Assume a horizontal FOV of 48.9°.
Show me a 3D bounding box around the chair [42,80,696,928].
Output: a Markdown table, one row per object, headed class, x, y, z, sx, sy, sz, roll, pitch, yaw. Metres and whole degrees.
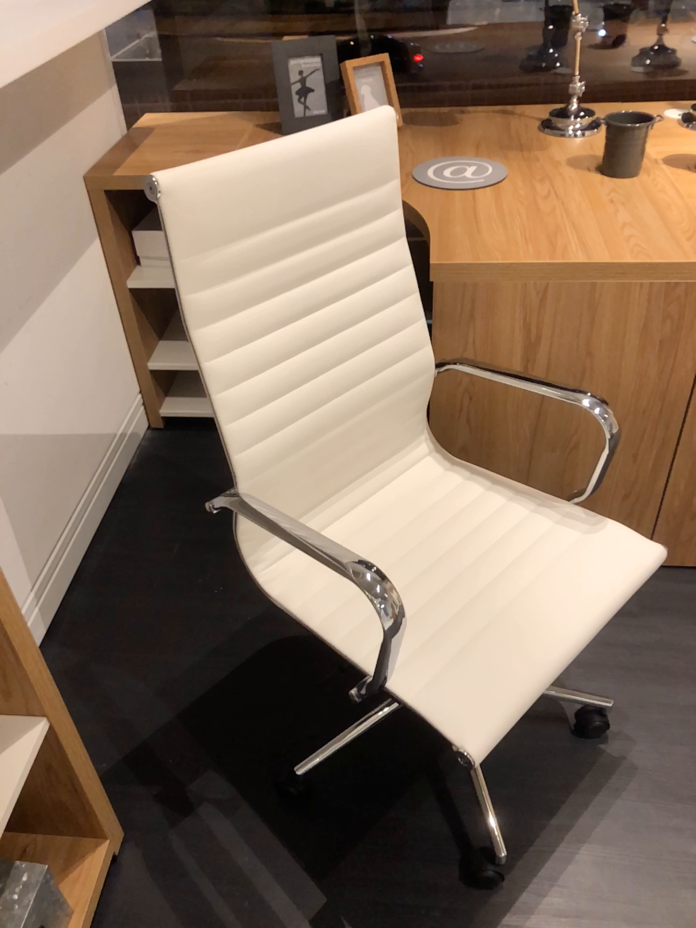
| class | x | y | z | sx | sy | sz | roll | pitch | yaw |
| --- | --- | --- | --- | --- | --- | --- | --- | --- | --- |
| chair | 0.109 | 0.058 | 1.198 | 0.632 | 1.012 | 0.633 | -33 | 47 | -32 |
